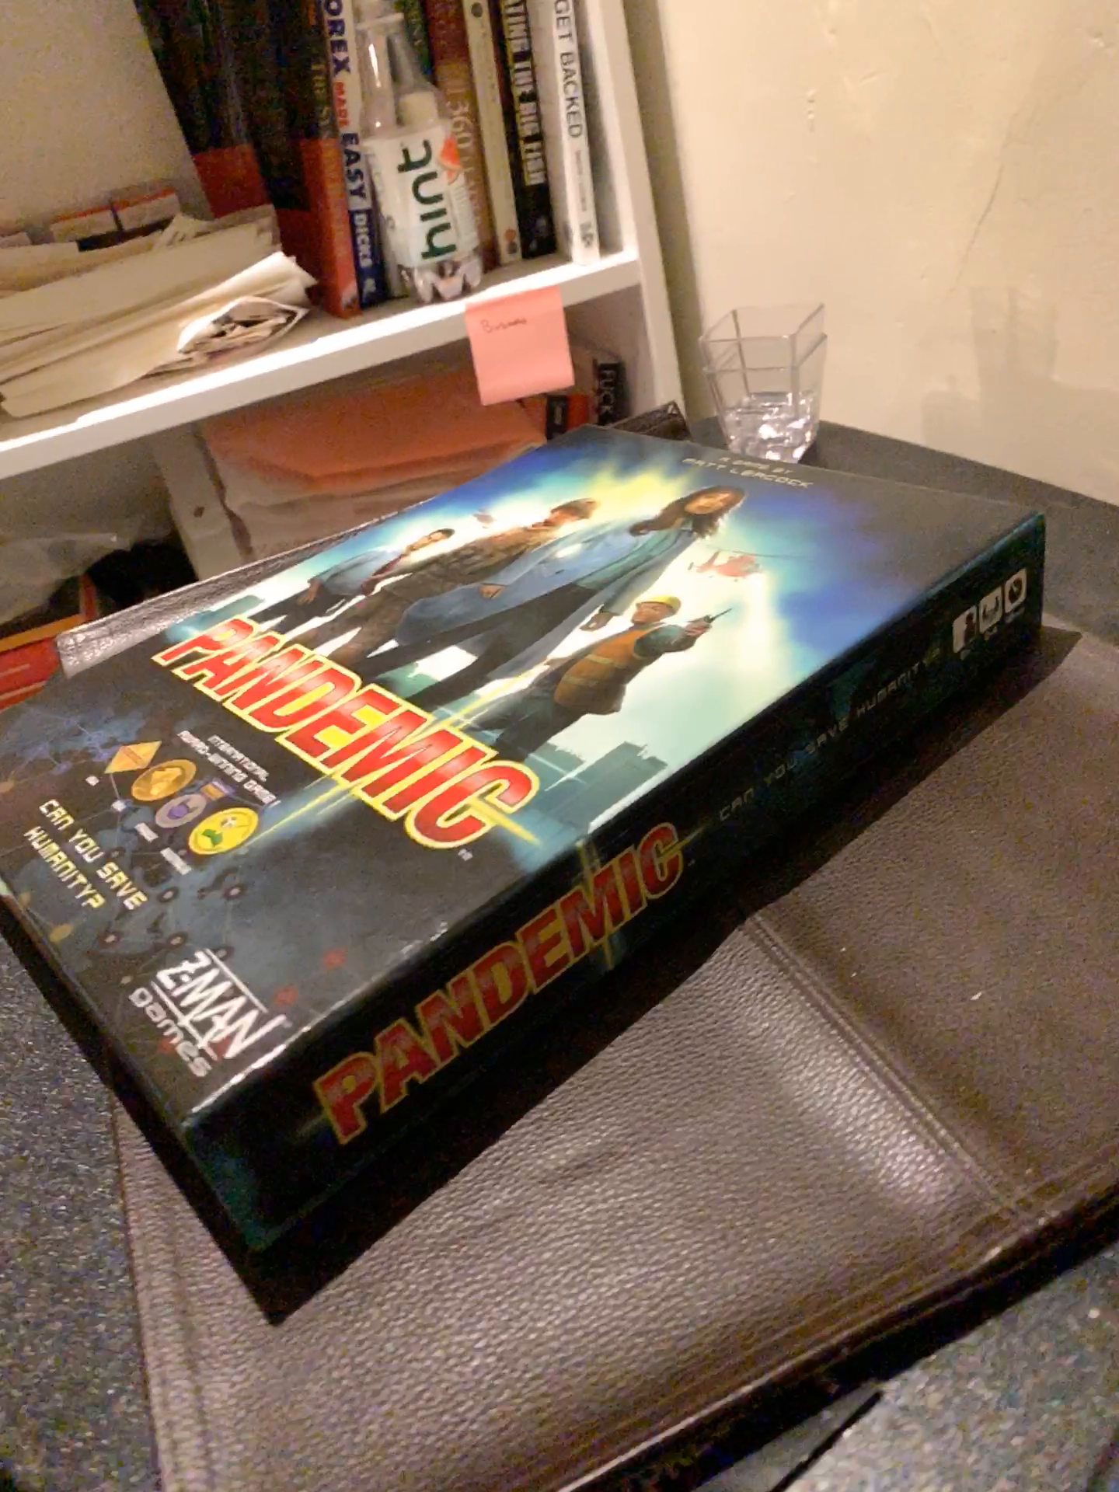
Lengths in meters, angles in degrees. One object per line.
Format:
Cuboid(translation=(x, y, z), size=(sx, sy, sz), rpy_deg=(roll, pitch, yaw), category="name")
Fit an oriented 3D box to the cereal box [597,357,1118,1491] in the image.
Cuboid(translation=(0.432, 0.215, 1.162), size=(0.471, 0.994, 0.512), rpy_deg=(1, 36, 23), category="cereal box")
